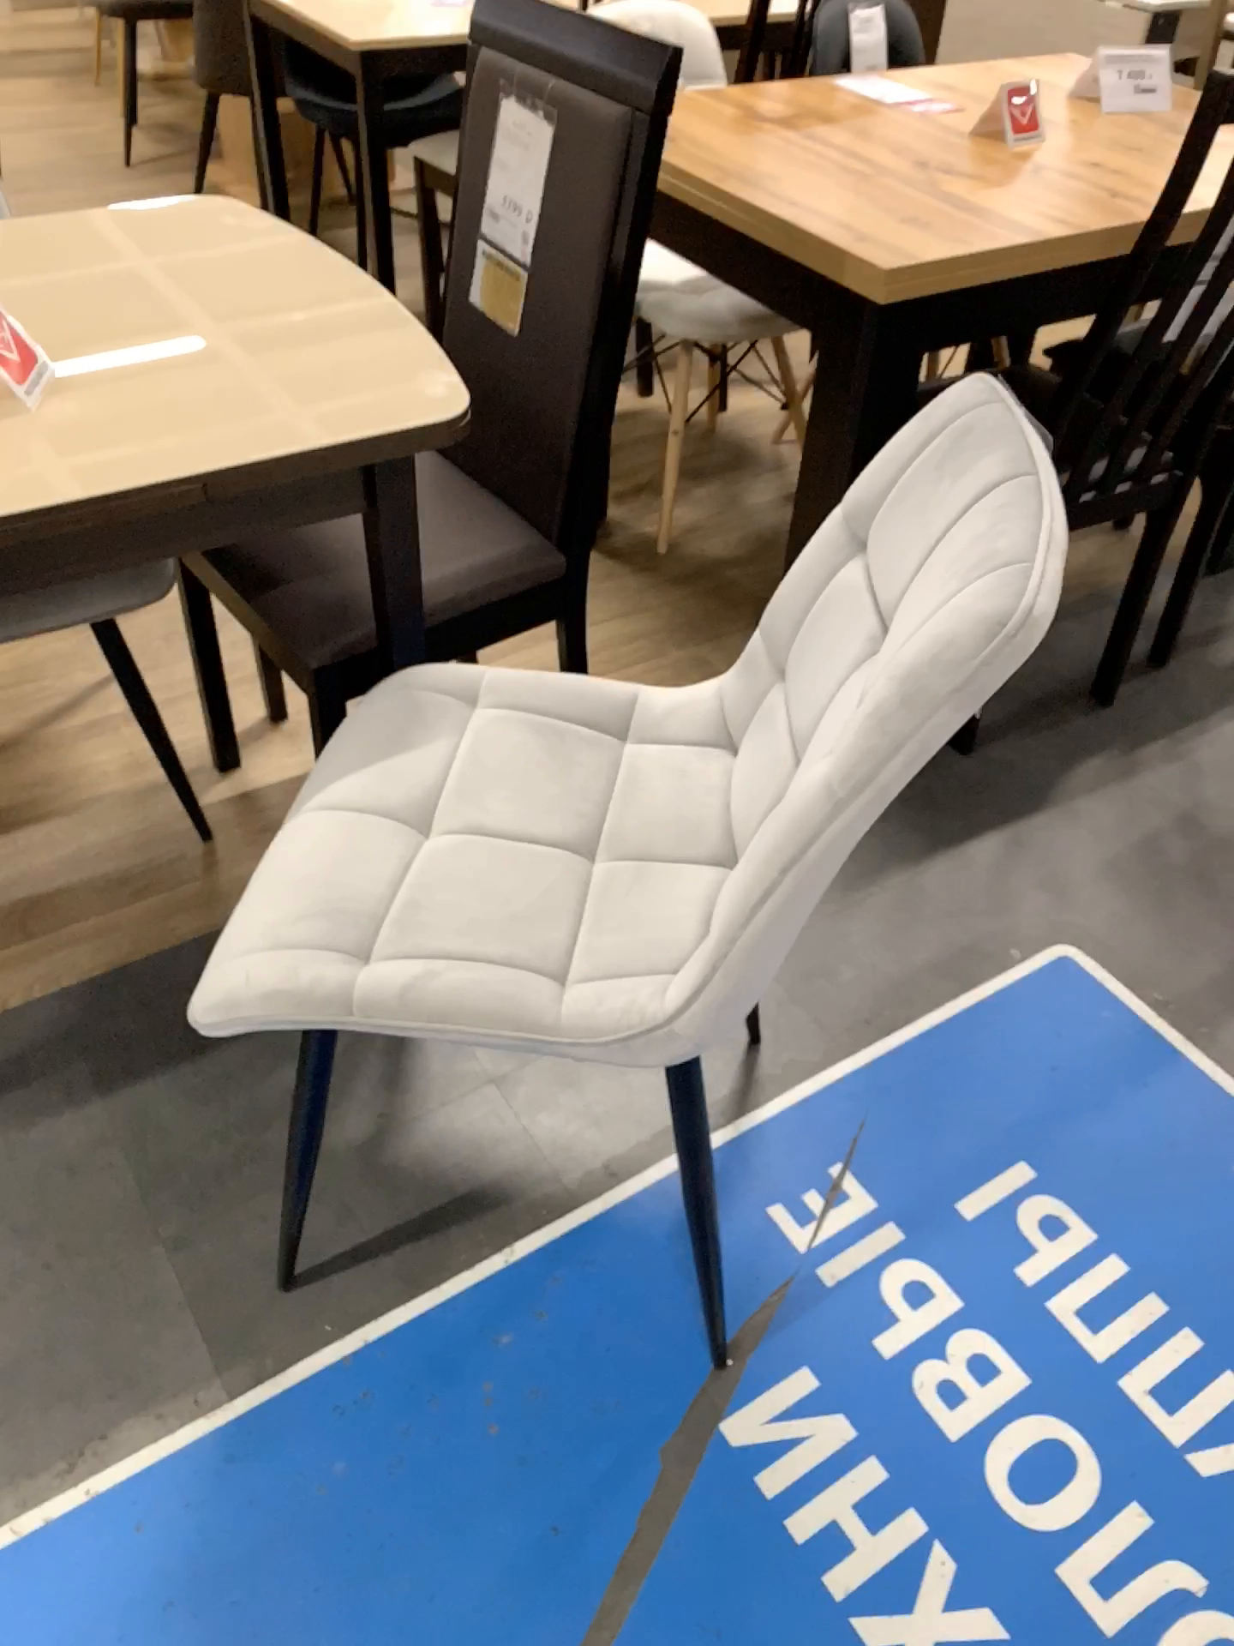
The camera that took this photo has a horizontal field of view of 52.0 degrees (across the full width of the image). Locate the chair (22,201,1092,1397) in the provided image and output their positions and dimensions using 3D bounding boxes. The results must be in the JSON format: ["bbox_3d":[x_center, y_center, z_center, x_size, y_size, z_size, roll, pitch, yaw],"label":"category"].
[{"bbox_3d":[-0.028,0.035,1.201,0.600,0.975,0.483,9,43,5],"label":"chair"}]
